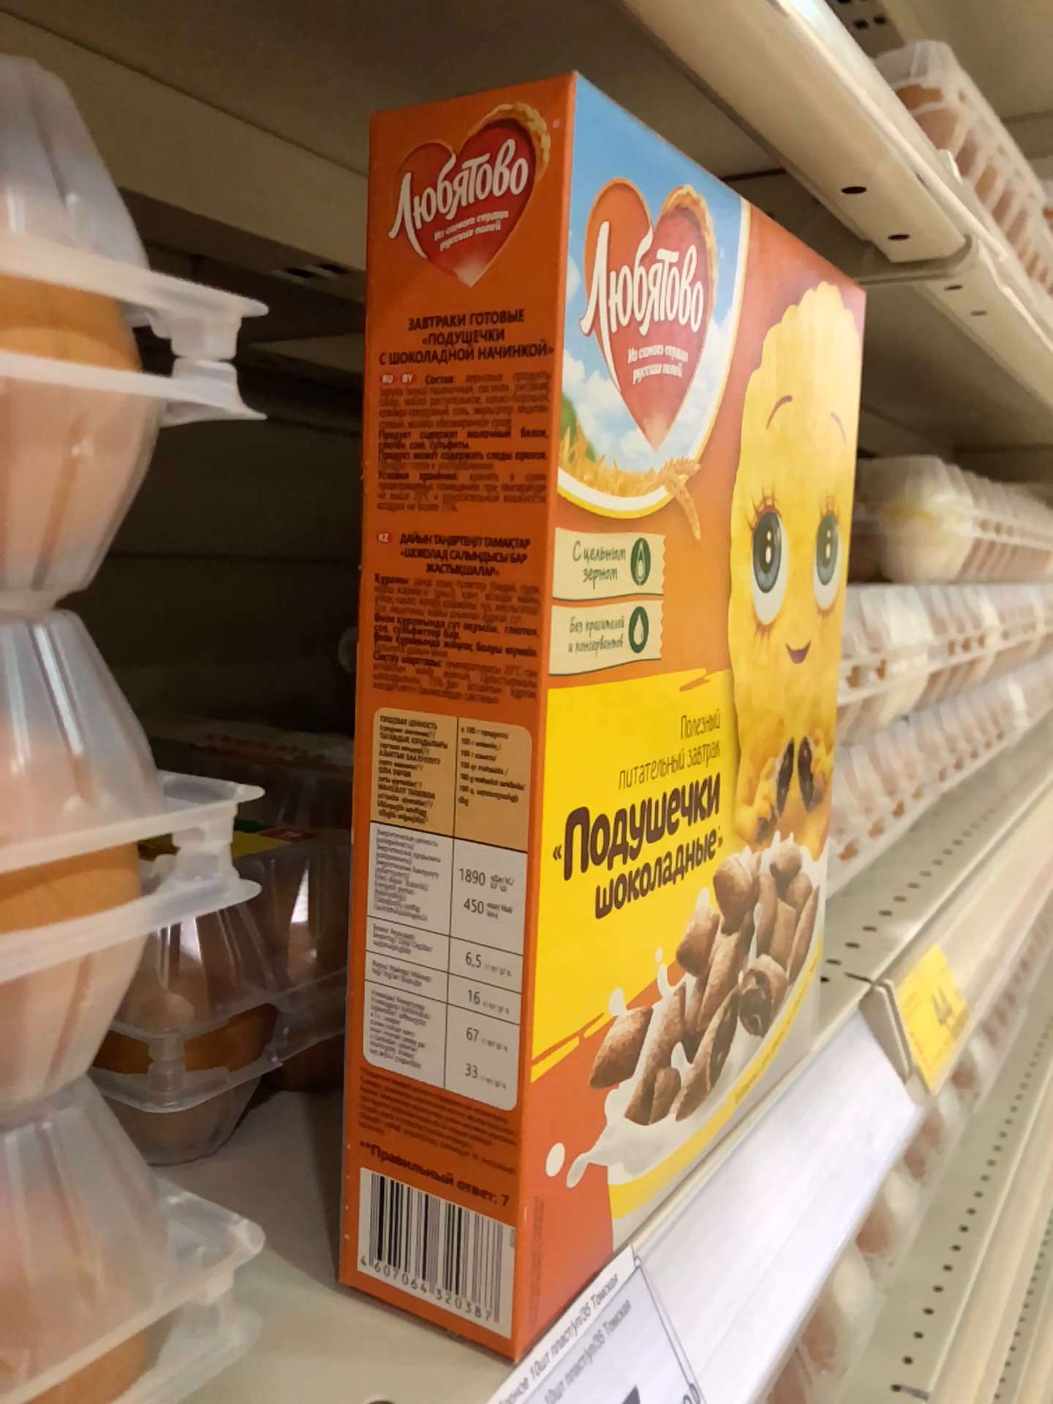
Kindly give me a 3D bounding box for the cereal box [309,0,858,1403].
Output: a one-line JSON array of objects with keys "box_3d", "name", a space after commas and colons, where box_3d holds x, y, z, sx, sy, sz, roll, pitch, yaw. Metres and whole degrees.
[{"box_3d": [0.027, -0.006, 0.276, 0.040, 0.240, 0.180, 5, 7, 30], "name": "cereal box"}]
